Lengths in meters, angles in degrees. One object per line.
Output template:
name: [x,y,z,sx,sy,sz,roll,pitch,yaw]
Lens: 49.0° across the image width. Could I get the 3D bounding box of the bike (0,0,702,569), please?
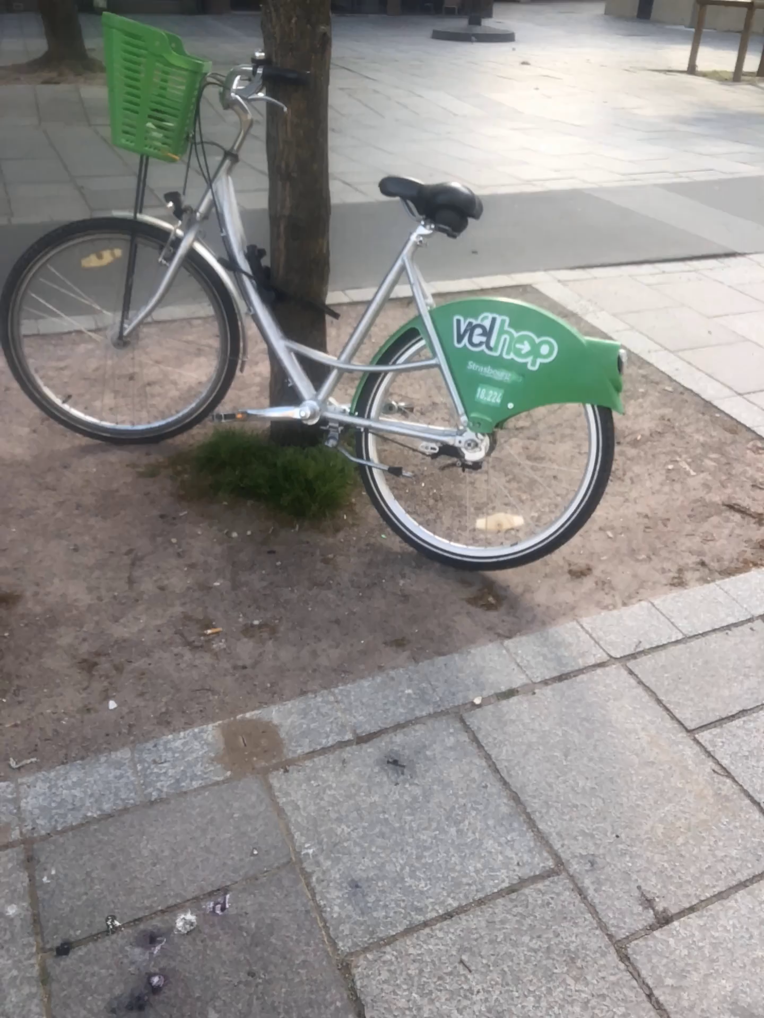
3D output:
bike: [-0.181,-0.589,2.208,1.719,1.114,0.313,13,34,9]
